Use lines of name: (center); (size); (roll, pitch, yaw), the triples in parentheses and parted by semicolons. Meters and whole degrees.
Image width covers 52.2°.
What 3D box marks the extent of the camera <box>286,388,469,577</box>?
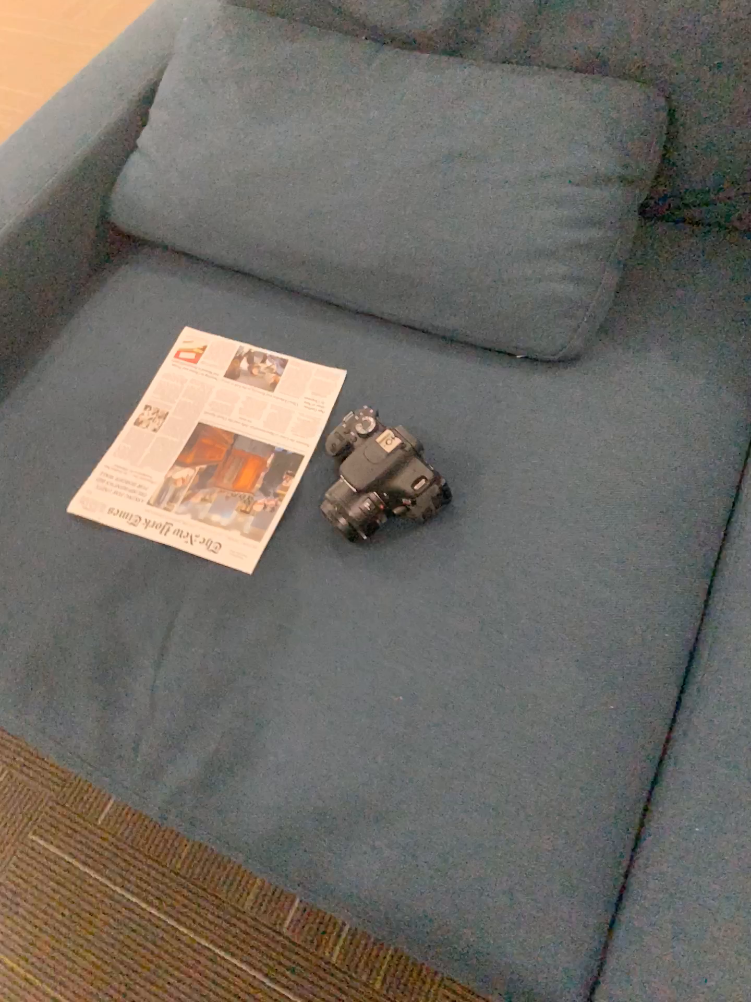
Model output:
camera: (0.004, -0.017, 0.760); (0.108, 0.100, 0.120); (-42, 63, -3)
